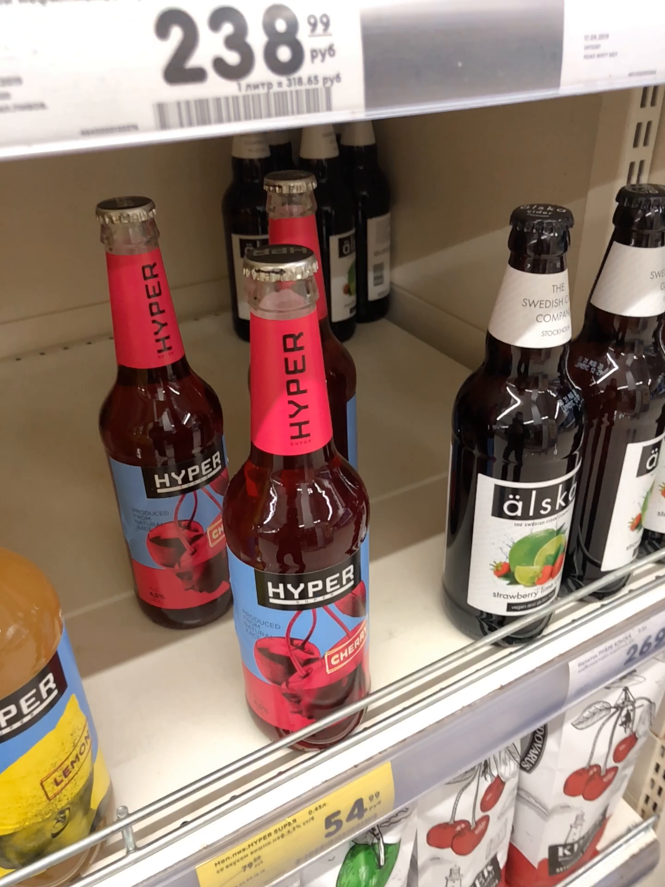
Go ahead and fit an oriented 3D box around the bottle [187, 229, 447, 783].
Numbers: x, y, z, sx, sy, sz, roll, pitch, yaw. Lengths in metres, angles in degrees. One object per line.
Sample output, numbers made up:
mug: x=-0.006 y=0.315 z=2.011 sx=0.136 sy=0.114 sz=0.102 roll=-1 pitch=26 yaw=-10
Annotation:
bottle: x=-0.005 y=0.038 z=0.335 sx=0.080 sy=0.243 sz=0.070 roll=-11 pitch=32 yaw=-14
